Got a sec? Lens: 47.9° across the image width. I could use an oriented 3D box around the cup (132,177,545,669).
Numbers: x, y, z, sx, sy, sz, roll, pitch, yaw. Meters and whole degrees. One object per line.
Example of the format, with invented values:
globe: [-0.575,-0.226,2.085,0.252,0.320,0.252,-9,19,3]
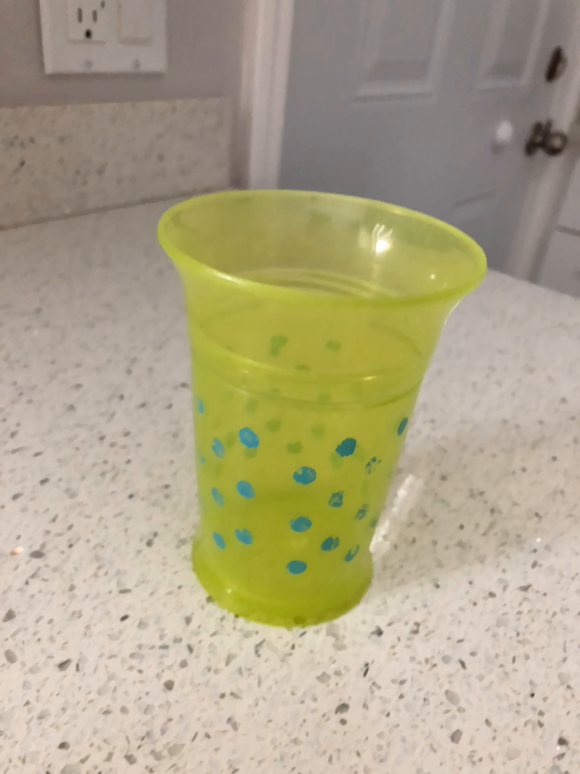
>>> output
cup: [0.004,0.004,0.192,0.078,0.109,0.073,5,31,-3]
